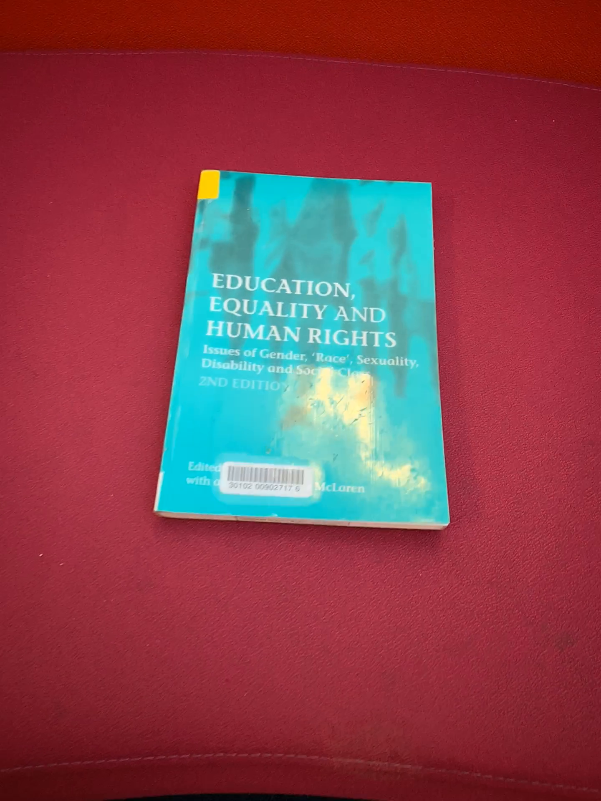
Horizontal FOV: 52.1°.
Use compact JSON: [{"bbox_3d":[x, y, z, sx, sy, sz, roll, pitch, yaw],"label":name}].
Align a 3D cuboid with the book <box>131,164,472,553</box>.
[{"bbox_3d":[0.005,-0.038,0.388,0.180,0.030,0.251,3,66,-1],"label":"book"}]
